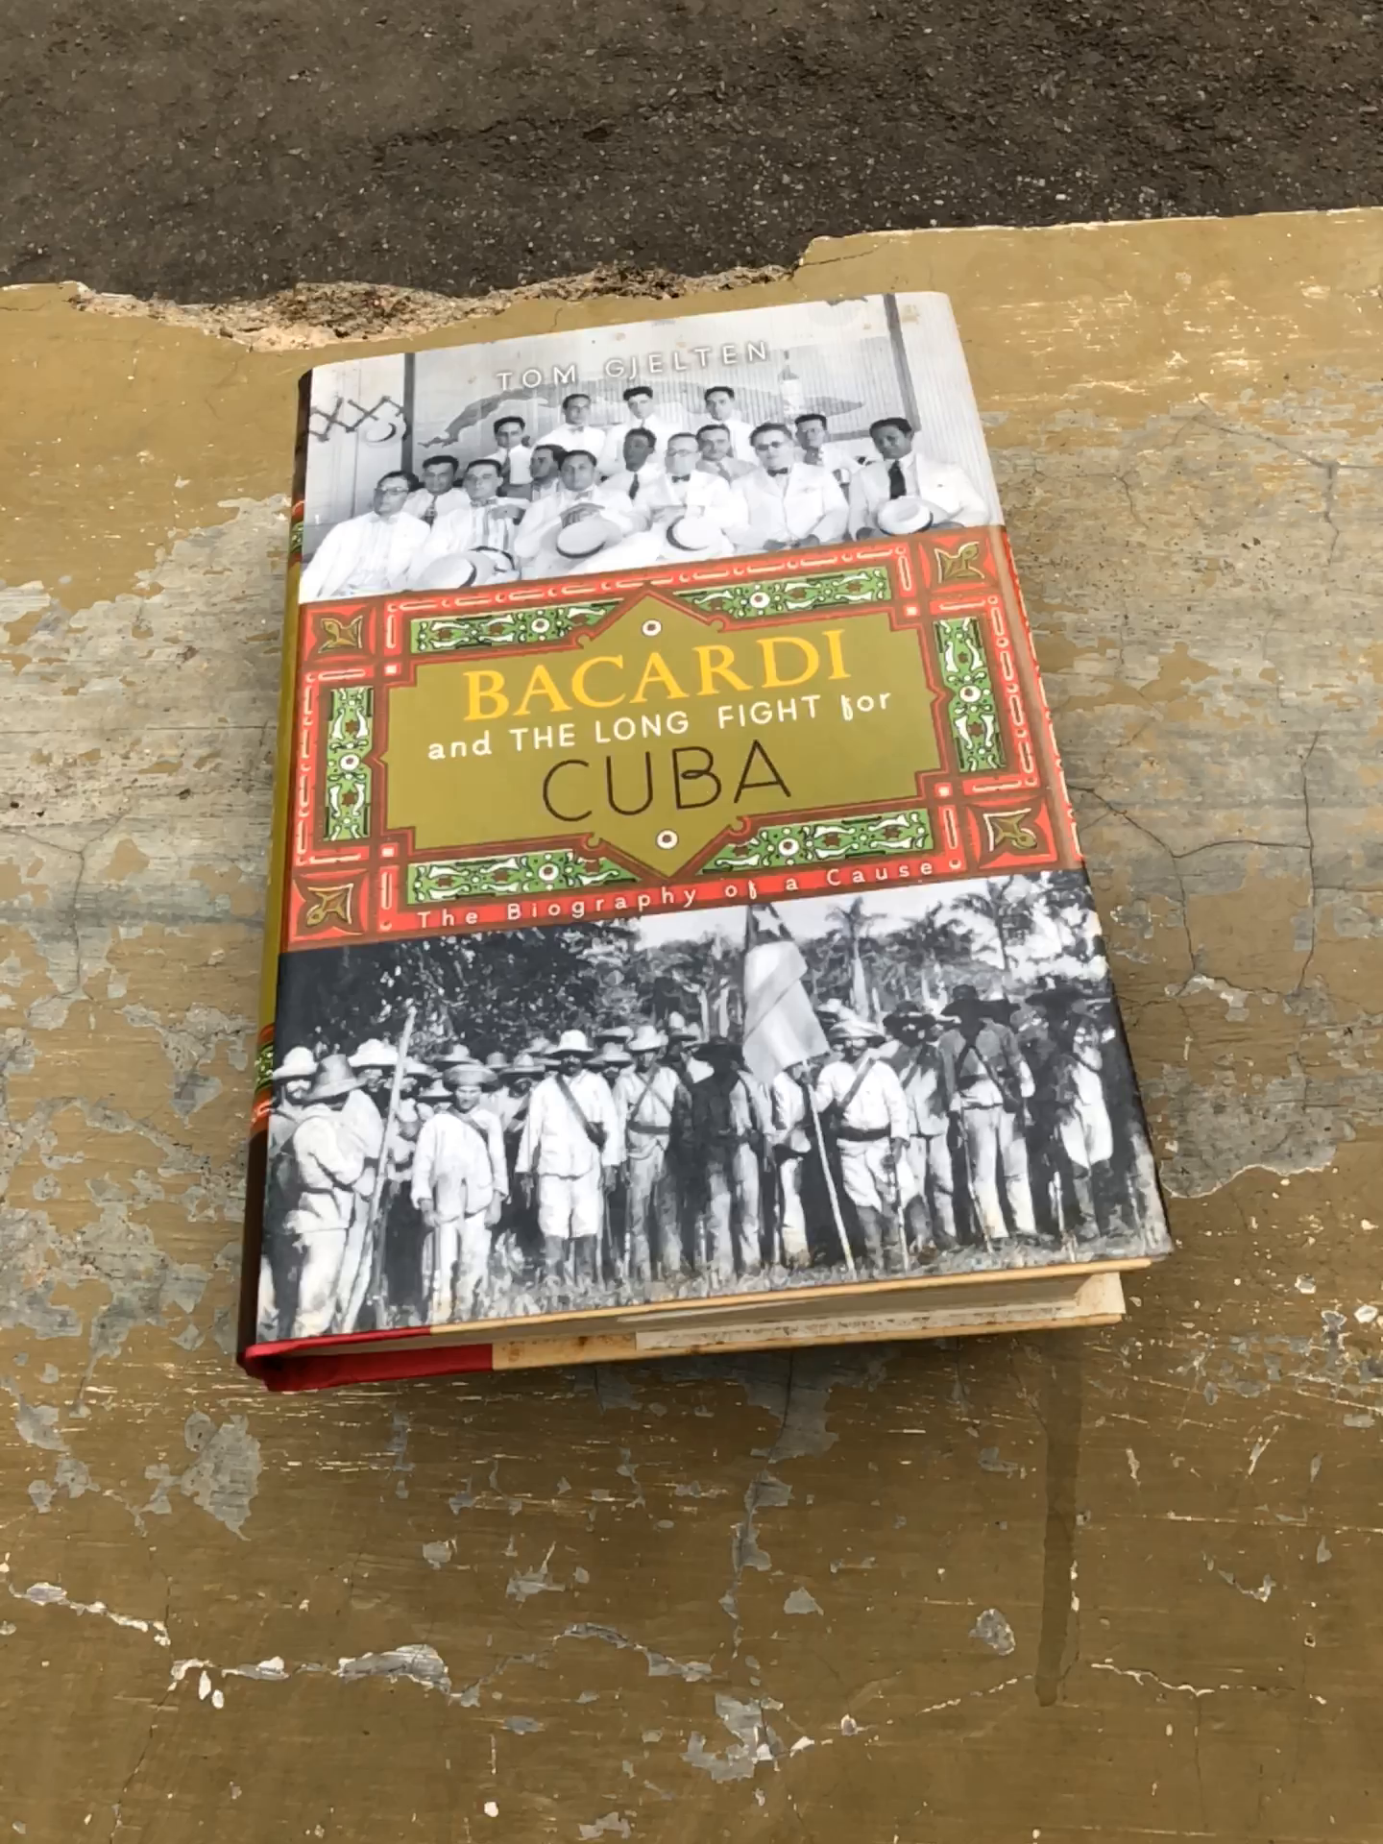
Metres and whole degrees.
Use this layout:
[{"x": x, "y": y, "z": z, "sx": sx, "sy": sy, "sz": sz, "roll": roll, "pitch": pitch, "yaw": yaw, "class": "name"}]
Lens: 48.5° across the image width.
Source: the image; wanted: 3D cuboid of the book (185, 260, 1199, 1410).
[{"x": -0.007, "y": -0.033, "z": 0.338, "sx": 0.170, "sy": 0.050, "sz": 0.250, "roll": -5, "pitch": 61, "yaw": 2, "class": "book"}]
